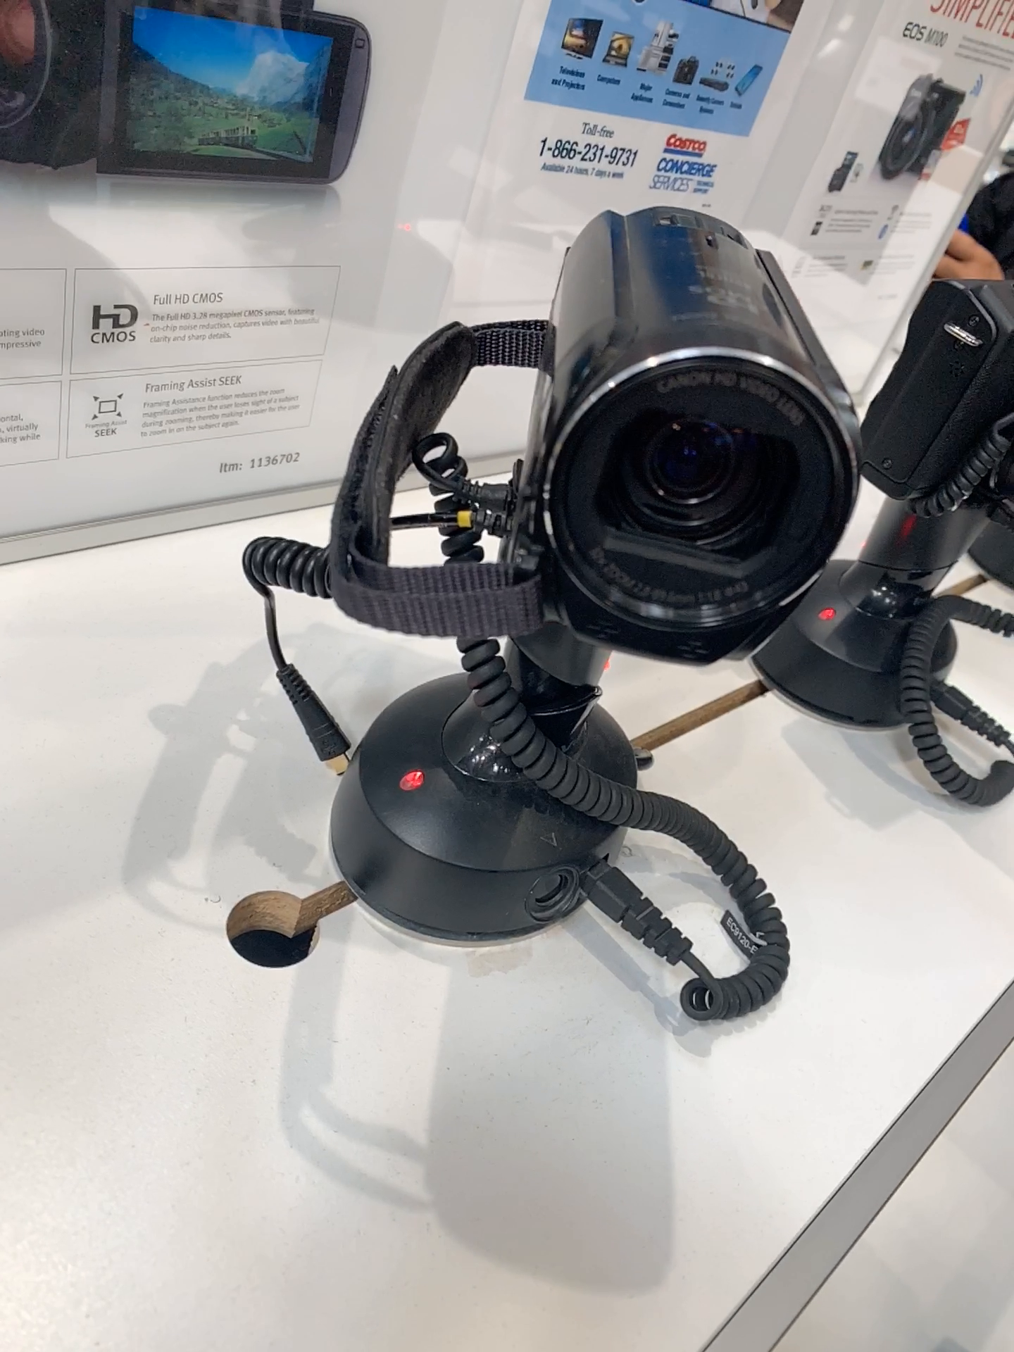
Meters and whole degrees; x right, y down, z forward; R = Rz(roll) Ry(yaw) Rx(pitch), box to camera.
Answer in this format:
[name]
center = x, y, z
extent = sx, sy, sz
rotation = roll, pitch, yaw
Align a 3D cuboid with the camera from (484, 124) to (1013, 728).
[camera]
center = 0.035, -0.053, 0.191
extent = 0.058, 0.054, 0.114
rotation = 15, 34, -8
